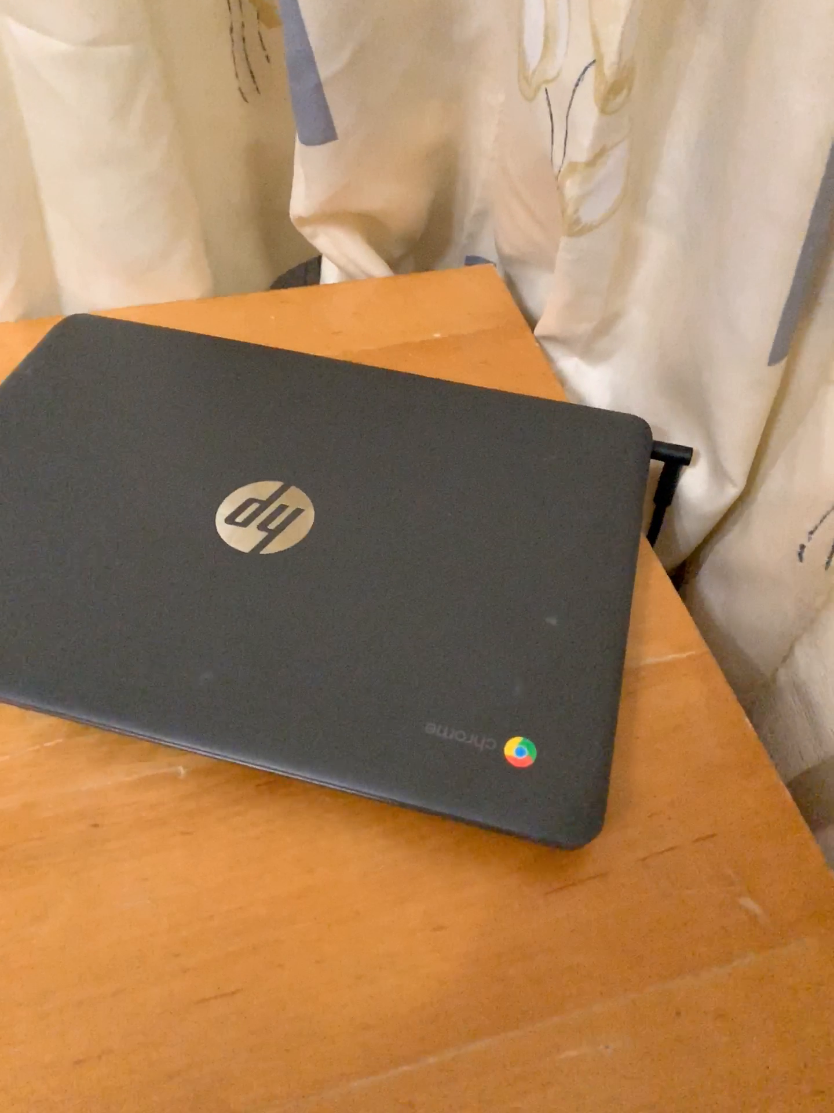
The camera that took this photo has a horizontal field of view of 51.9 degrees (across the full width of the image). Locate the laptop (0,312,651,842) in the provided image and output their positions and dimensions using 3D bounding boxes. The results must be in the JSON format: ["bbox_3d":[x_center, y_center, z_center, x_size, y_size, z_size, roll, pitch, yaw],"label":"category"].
[{"bbox_3d":[-0.054,-0.017,0.315,0.261,0.004,0.186,12,50,9],"label":"laptop"}]
